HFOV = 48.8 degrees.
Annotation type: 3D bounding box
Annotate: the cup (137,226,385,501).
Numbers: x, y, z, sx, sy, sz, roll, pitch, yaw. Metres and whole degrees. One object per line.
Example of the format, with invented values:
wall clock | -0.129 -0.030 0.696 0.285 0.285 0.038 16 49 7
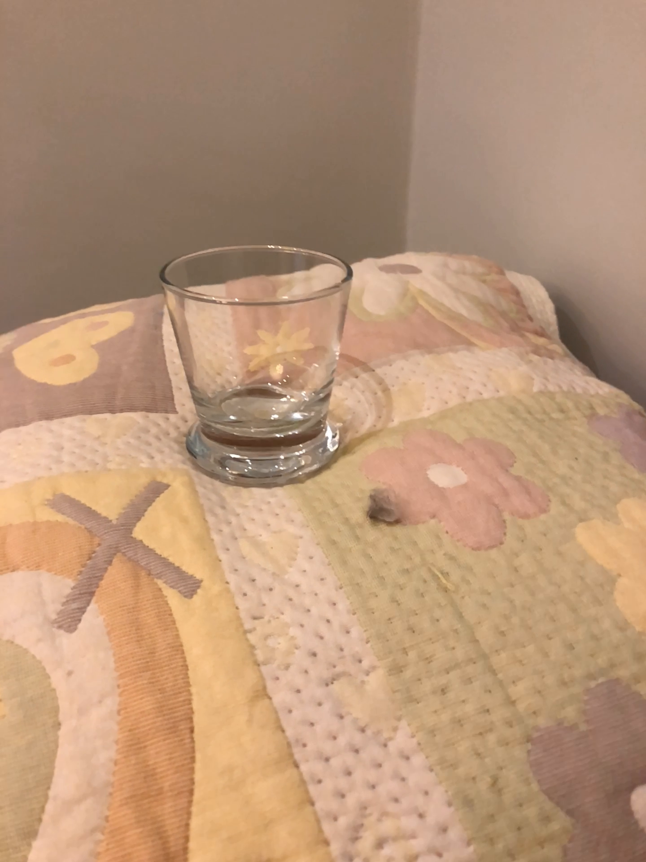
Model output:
cup | -0.031 -0.036 0.321 0.080 0.089 0.080 3 29 -2
